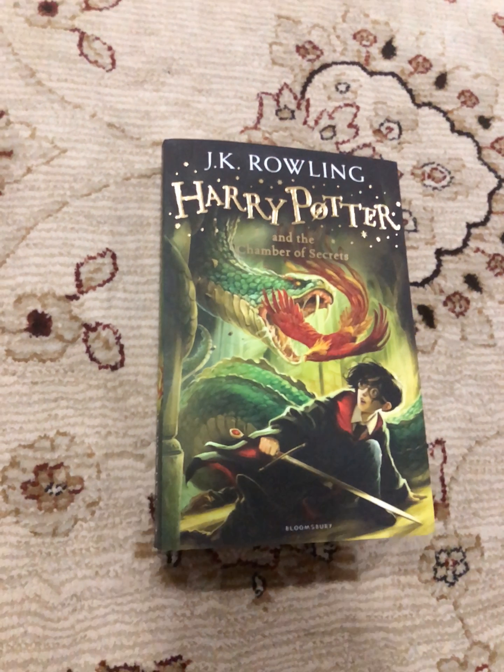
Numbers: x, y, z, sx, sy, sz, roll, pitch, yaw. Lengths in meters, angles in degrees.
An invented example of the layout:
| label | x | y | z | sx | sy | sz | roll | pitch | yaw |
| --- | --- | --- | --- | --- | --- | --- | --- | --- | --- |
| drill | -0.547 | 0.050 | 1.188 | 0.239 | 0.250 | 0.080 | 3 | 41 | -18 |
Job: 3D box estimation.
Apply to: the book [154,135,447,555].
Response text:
| label | x | y | z | sx | sy | sz | roll | pitch | yaw |
| --- | --- | --- | --- | --- | --- | --- | --- | --- | --- |
| book | 0.019 | 0.000 | 0.286 | 0.131 | 0.030 | 0.200 | 1 | 73 | -12 |
